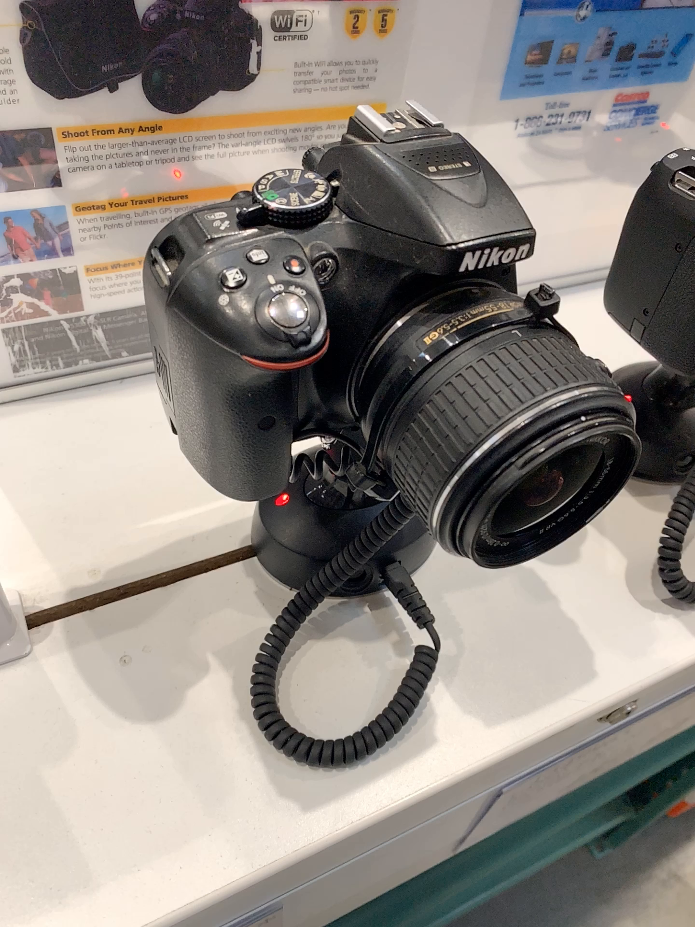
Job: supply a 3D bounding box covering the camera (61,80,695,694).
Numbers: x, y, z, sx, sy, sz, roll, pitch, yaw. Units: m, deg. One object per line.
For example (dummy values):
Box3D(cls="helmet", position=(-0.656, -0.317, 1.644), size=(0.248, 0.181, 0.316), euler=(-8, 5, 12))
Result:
Box3D(cls="camera", position=(0.009, -0.038, 0.198), size=(0.120, 0.069, 0.141), euler=(-19, 52, -25))
